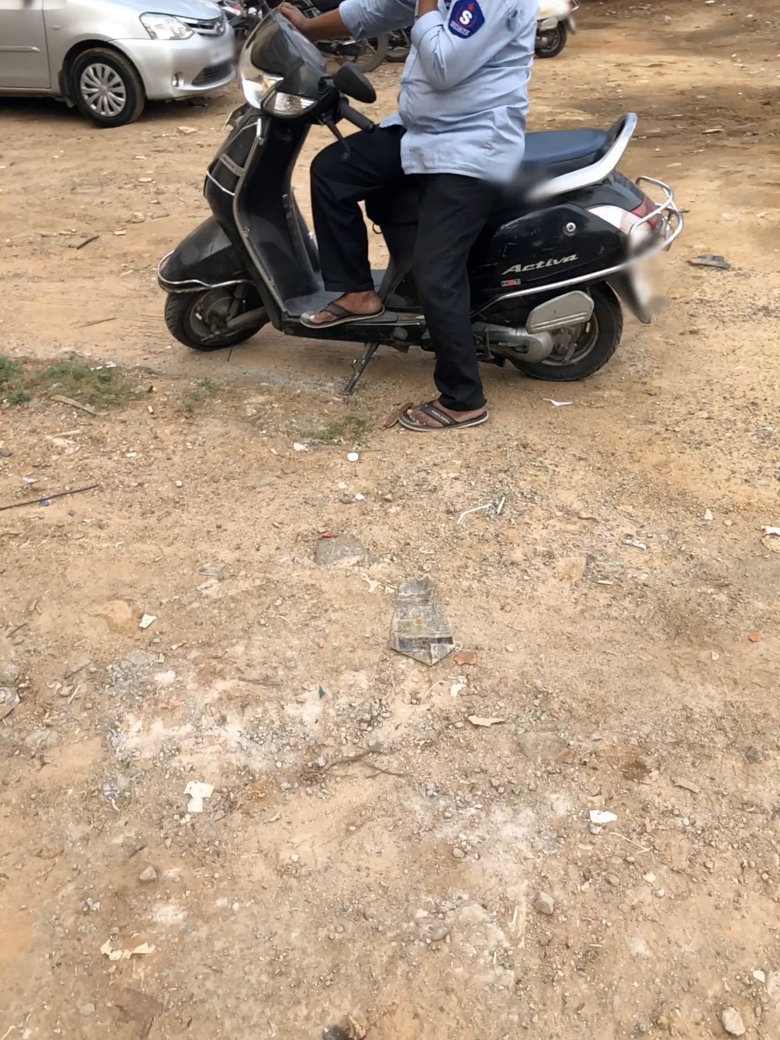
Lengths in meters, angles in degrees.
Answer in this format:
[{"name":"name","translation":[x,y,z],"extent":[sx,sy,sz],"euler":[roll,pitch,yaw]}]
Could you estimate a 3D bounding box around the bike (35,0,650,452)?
[{"name":"bike","translation":[-0.070,-0.857,2.558],"extent":[1.521,1.102,0.578],"euler":[4,35,15]}]
